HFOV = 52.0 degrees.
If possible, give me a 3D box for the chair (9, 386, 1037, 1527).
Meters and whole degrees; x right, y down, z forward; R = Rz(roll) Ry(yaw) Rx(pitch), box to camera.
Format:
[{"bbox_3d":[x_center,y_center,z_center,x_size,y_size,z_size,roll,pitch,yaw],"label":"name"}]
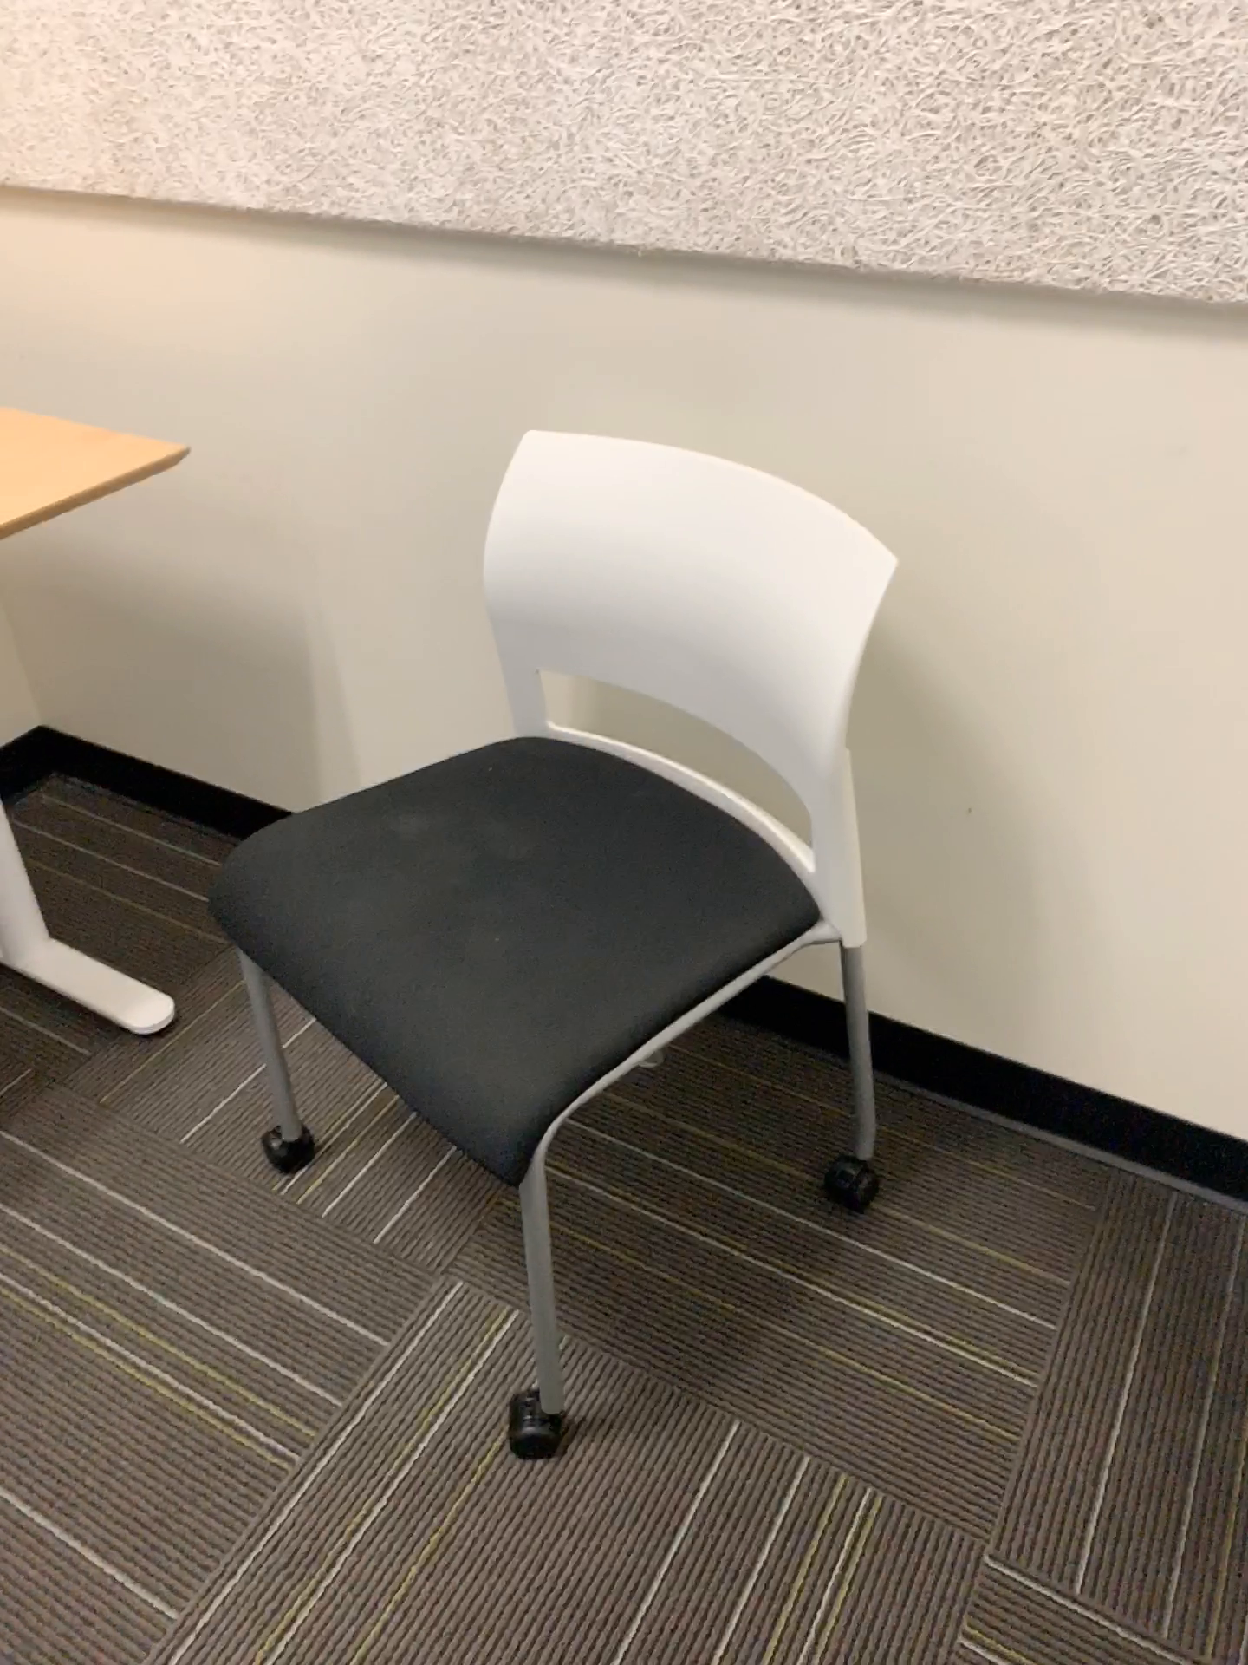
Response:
[{"bbox_3d":[-0.078,0.066,1.313,0.623,0.775,0.621,28,44,35],"label":"chair"}]
